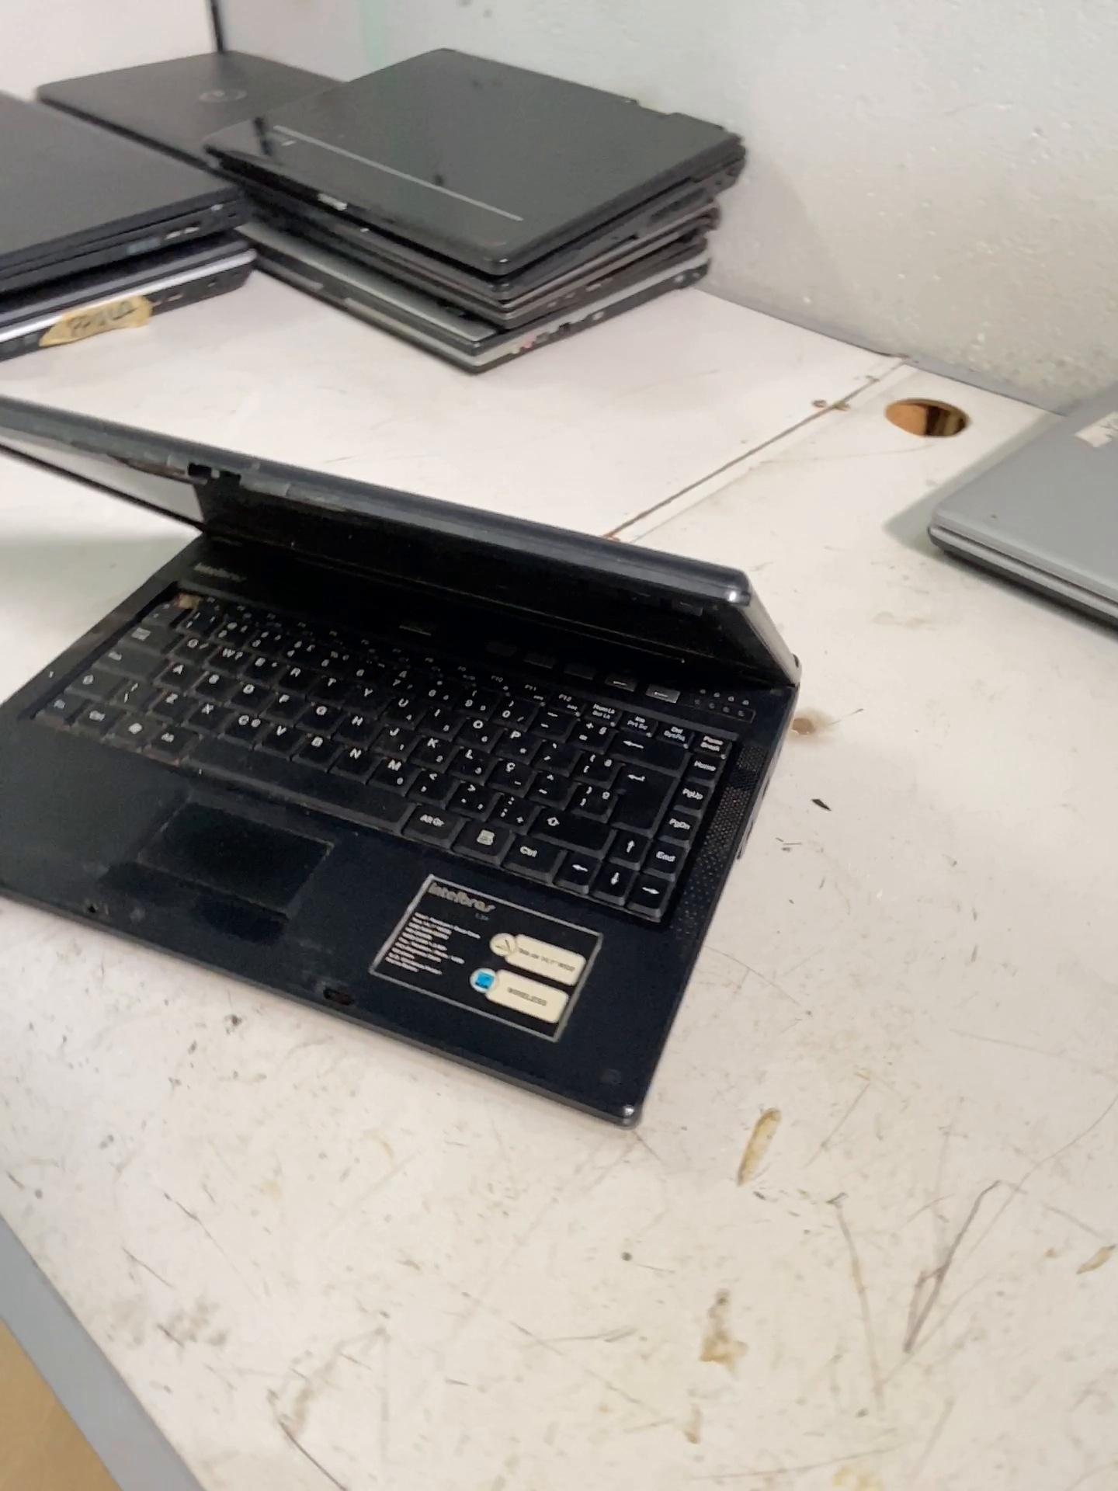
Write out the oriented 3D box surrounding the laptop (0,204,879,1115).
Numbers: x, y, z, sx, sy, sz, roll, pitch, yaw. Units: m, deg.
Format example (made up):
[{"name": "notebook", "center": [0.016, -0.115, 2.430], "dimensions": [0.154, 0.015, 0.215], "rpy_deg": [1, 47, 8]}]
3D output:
[{"name": "laptop", "center": [-0.080, -0.059, 0.439], "dimensions": [0.324, 0.168, 0.237], "rpy_deg": [16, 45, 15]}]
